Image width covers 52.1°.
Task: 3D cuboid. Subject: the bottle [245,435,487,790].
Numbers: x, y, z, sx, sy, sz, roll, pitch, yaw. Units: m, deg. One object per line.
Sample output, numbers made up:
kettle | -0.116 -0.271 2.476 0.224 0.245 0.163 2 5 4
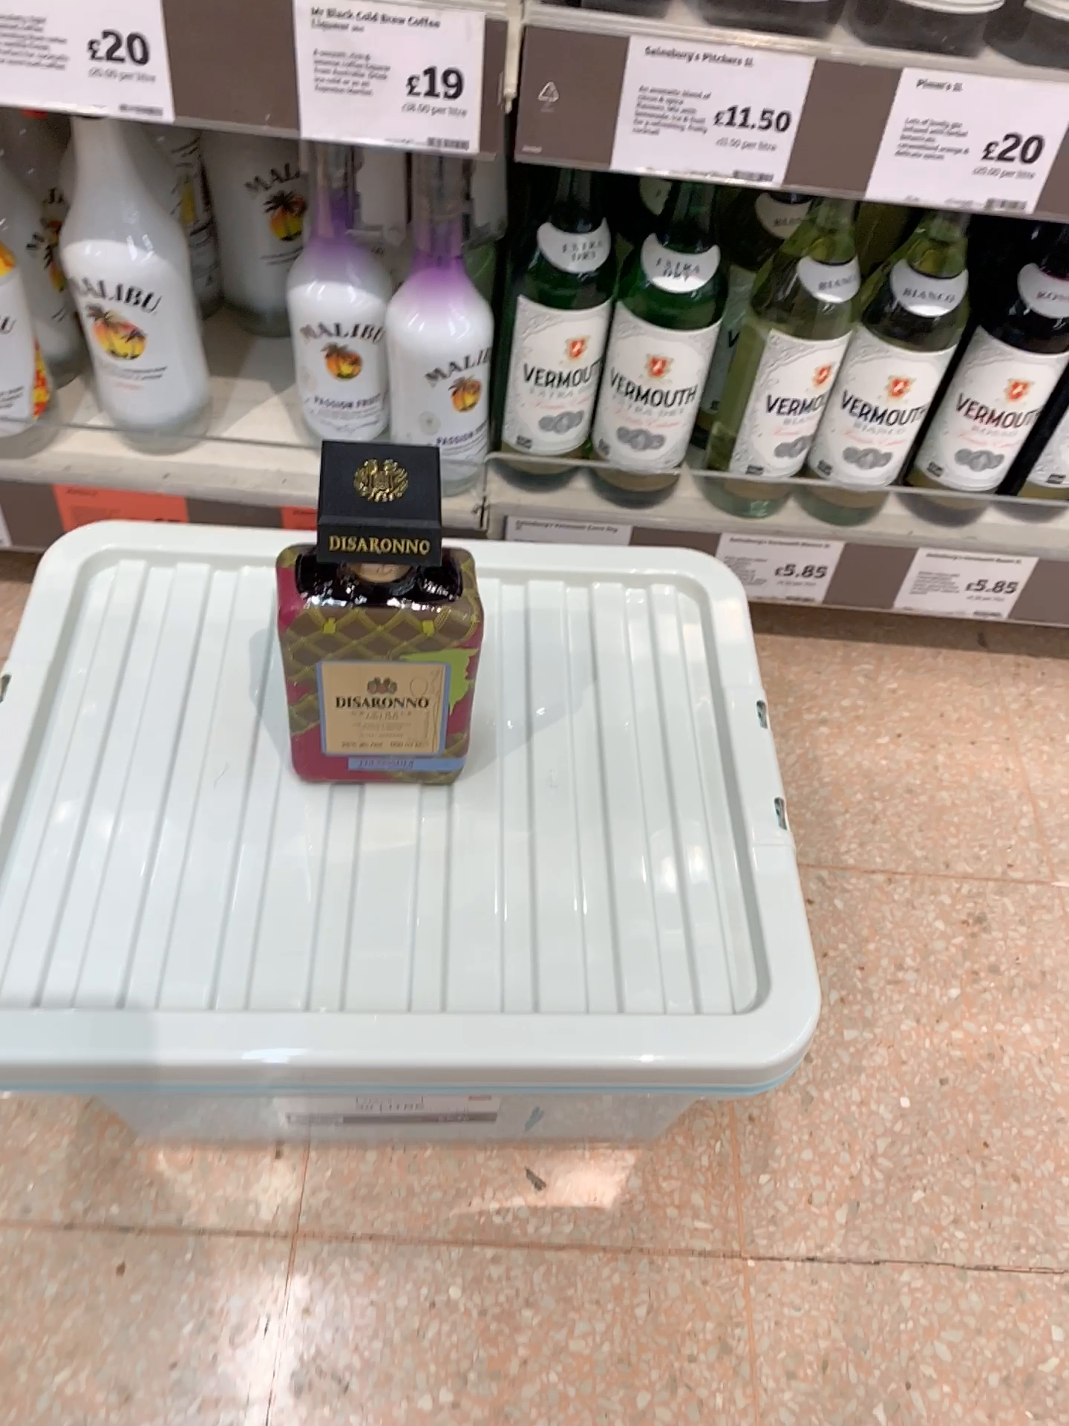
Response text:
bottle | -0.081 -0.040 0.553 0.100 0.198 0.060 1 54 -6
